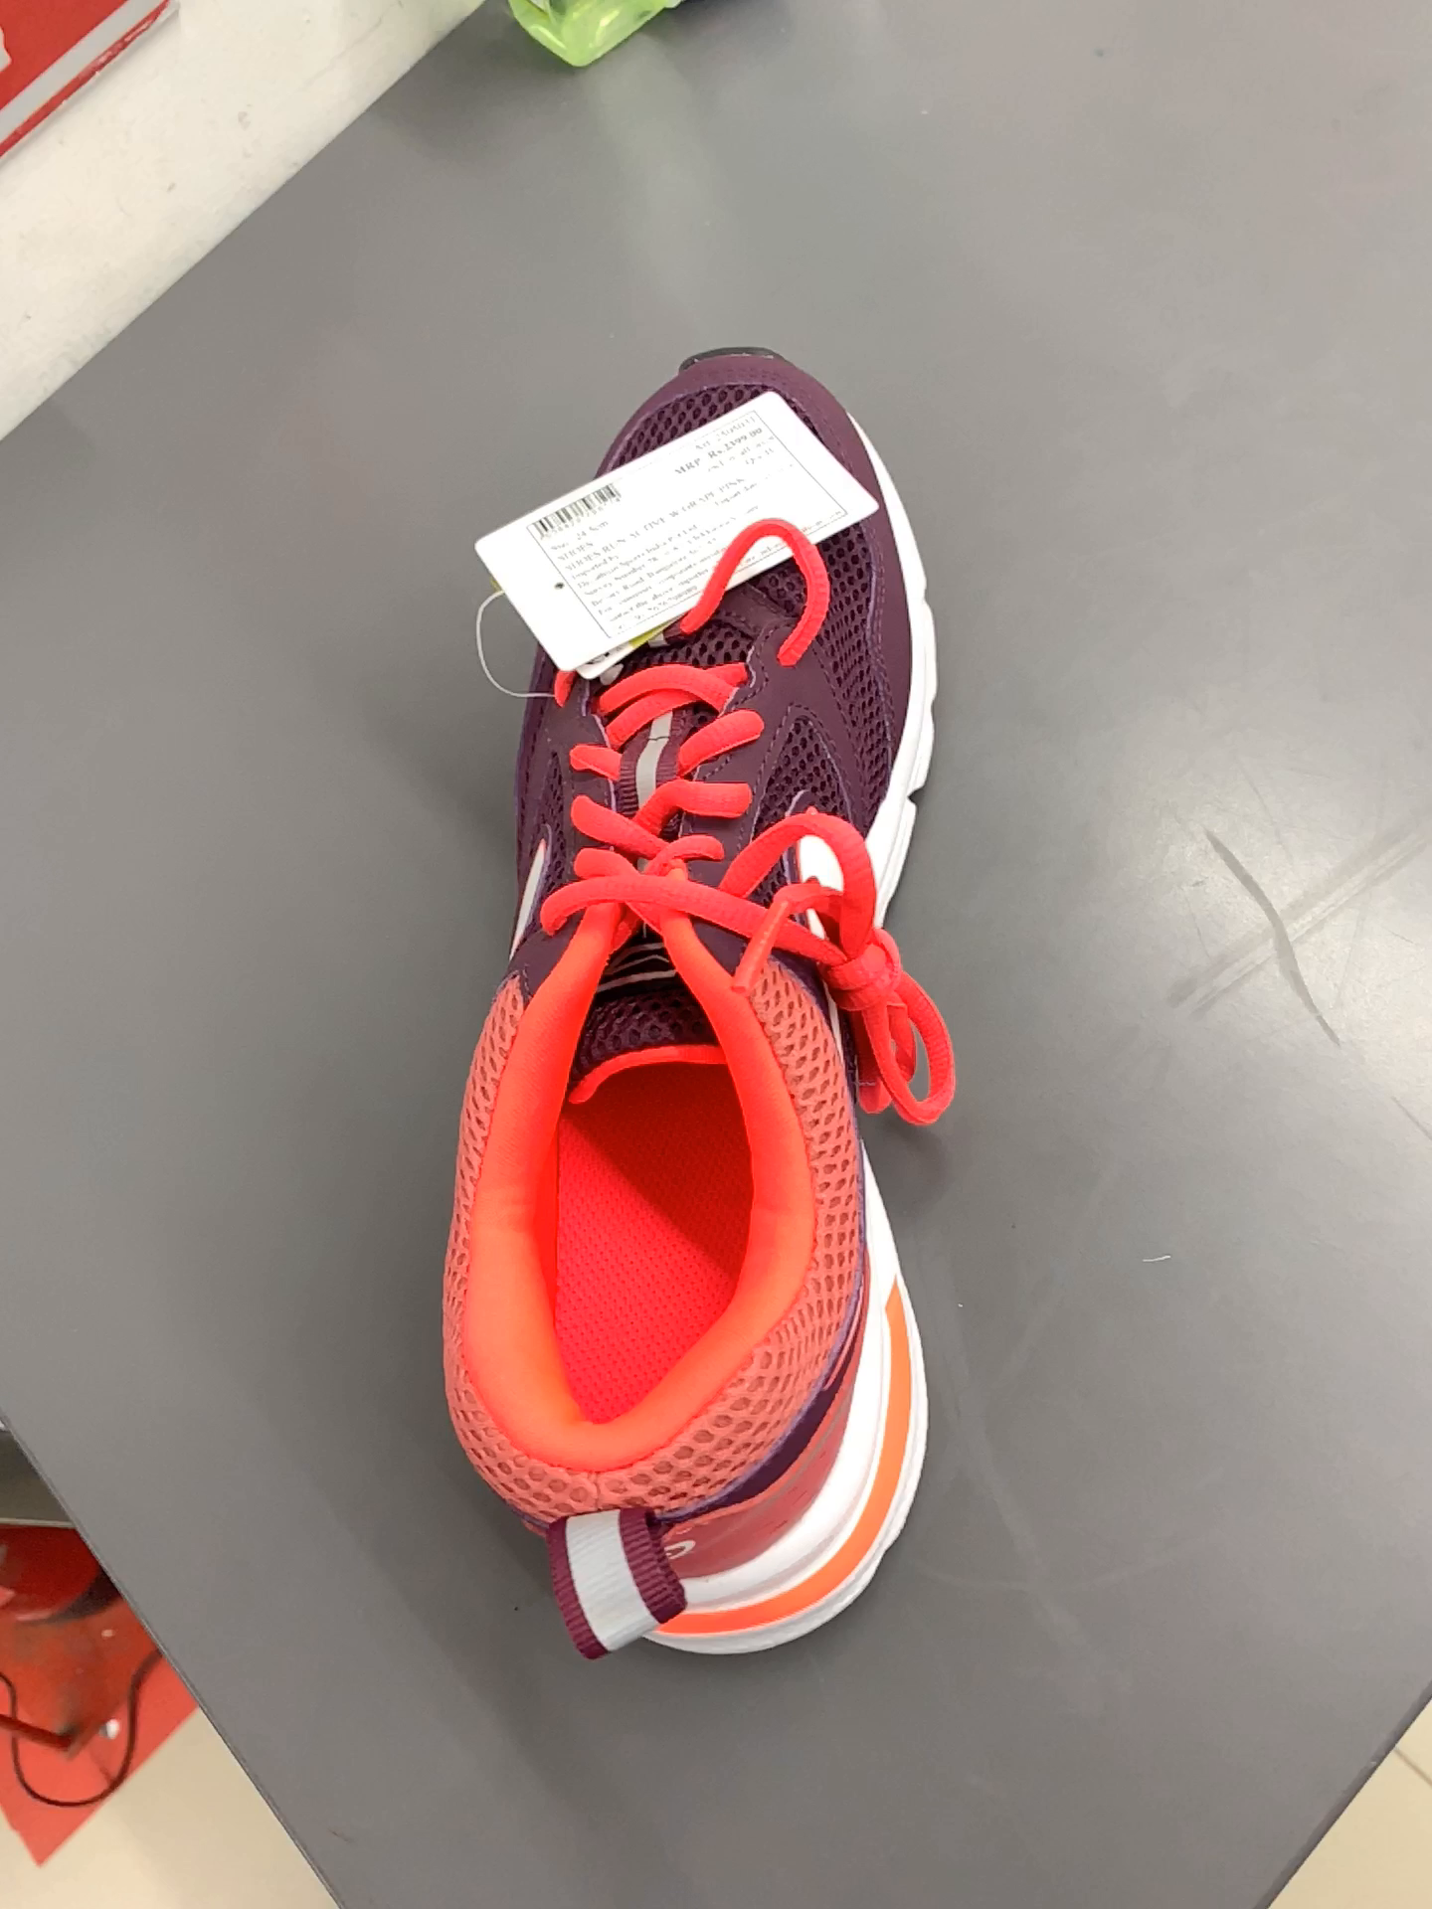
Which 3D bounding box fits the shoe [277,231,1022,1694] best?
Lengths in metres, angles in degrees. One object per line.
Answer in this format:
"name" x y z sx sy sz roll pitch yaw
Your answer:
"shoe" -0.003 -0.002 0.318 0.110 0.100 0.280 -5 67 12
